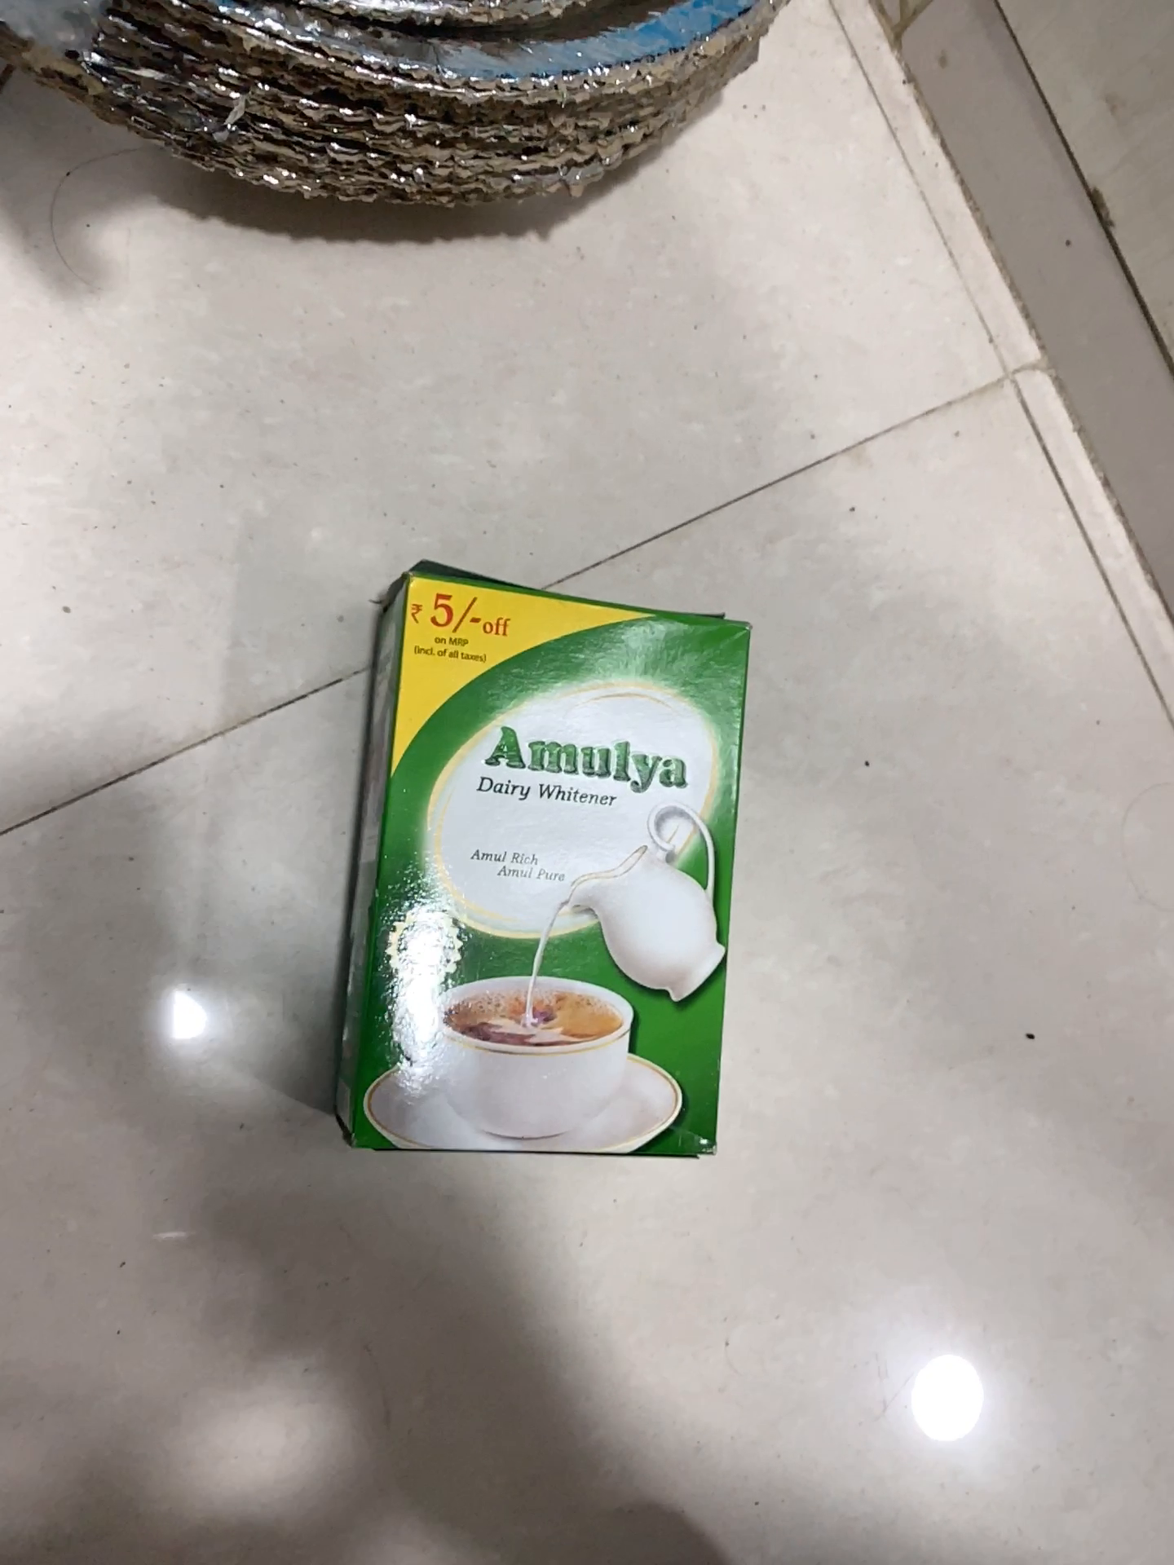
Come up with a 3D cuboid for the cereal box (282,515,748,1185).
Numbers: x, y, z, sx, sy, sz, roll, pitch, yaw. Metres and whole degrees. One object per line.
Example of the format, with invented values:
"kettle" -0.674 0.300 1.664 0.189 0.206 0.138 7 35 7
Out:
"cereal box" -0.019 0.019 0.296 0.090 0.060 0.140 7 83 -17
